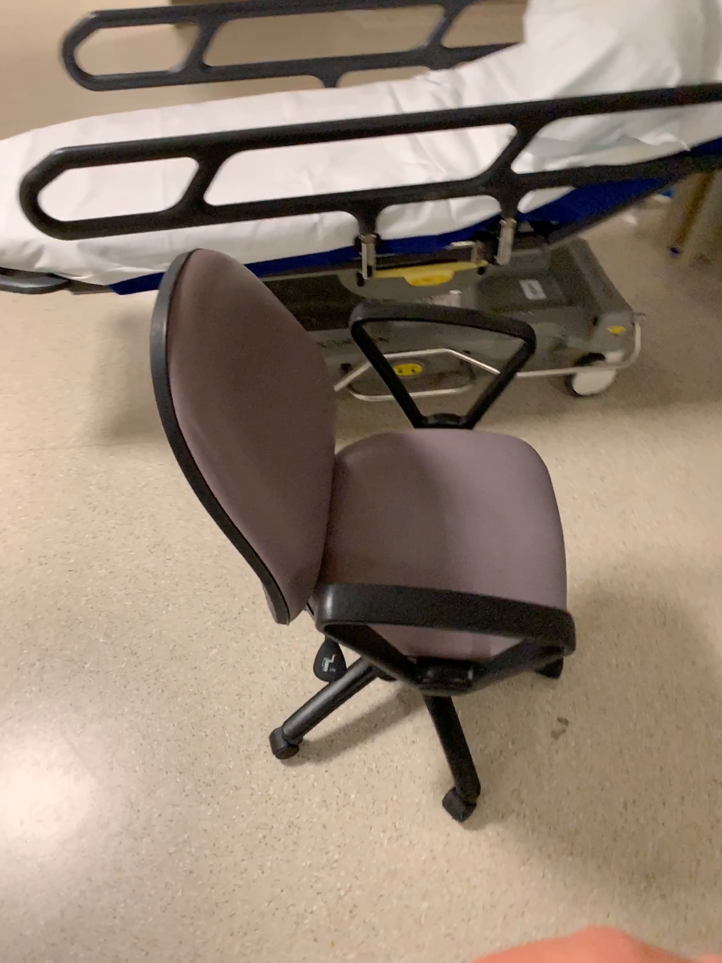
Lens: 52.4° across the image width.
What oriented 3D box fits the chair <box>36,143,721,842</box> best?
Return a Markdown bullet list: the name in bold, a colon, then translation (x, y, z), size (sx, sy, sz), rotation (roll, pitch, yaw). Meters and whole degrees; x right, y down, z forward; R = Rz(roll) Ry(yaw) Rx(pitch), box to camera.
- **chair**: translation (0.101, 0.065, 1.175), size (0.710, 0.882, 0.656), rotation (5, 50, 4)
